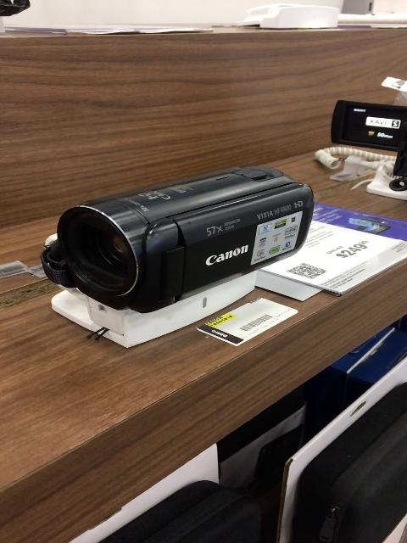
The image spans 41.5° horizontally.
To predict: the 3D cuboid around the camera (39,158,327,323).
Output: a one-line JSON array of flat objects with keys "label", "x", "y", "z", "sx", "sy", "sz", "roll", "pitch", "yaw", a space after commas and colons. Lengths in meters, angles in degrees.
[{"label": "camera", "x": -0.006, "y": -0.021, "z": 0.264, "sx": 0.111, "sy": 0.043, "sz": 0.063, "roll": -23, "pitch": 35, "yaw": -37}]
